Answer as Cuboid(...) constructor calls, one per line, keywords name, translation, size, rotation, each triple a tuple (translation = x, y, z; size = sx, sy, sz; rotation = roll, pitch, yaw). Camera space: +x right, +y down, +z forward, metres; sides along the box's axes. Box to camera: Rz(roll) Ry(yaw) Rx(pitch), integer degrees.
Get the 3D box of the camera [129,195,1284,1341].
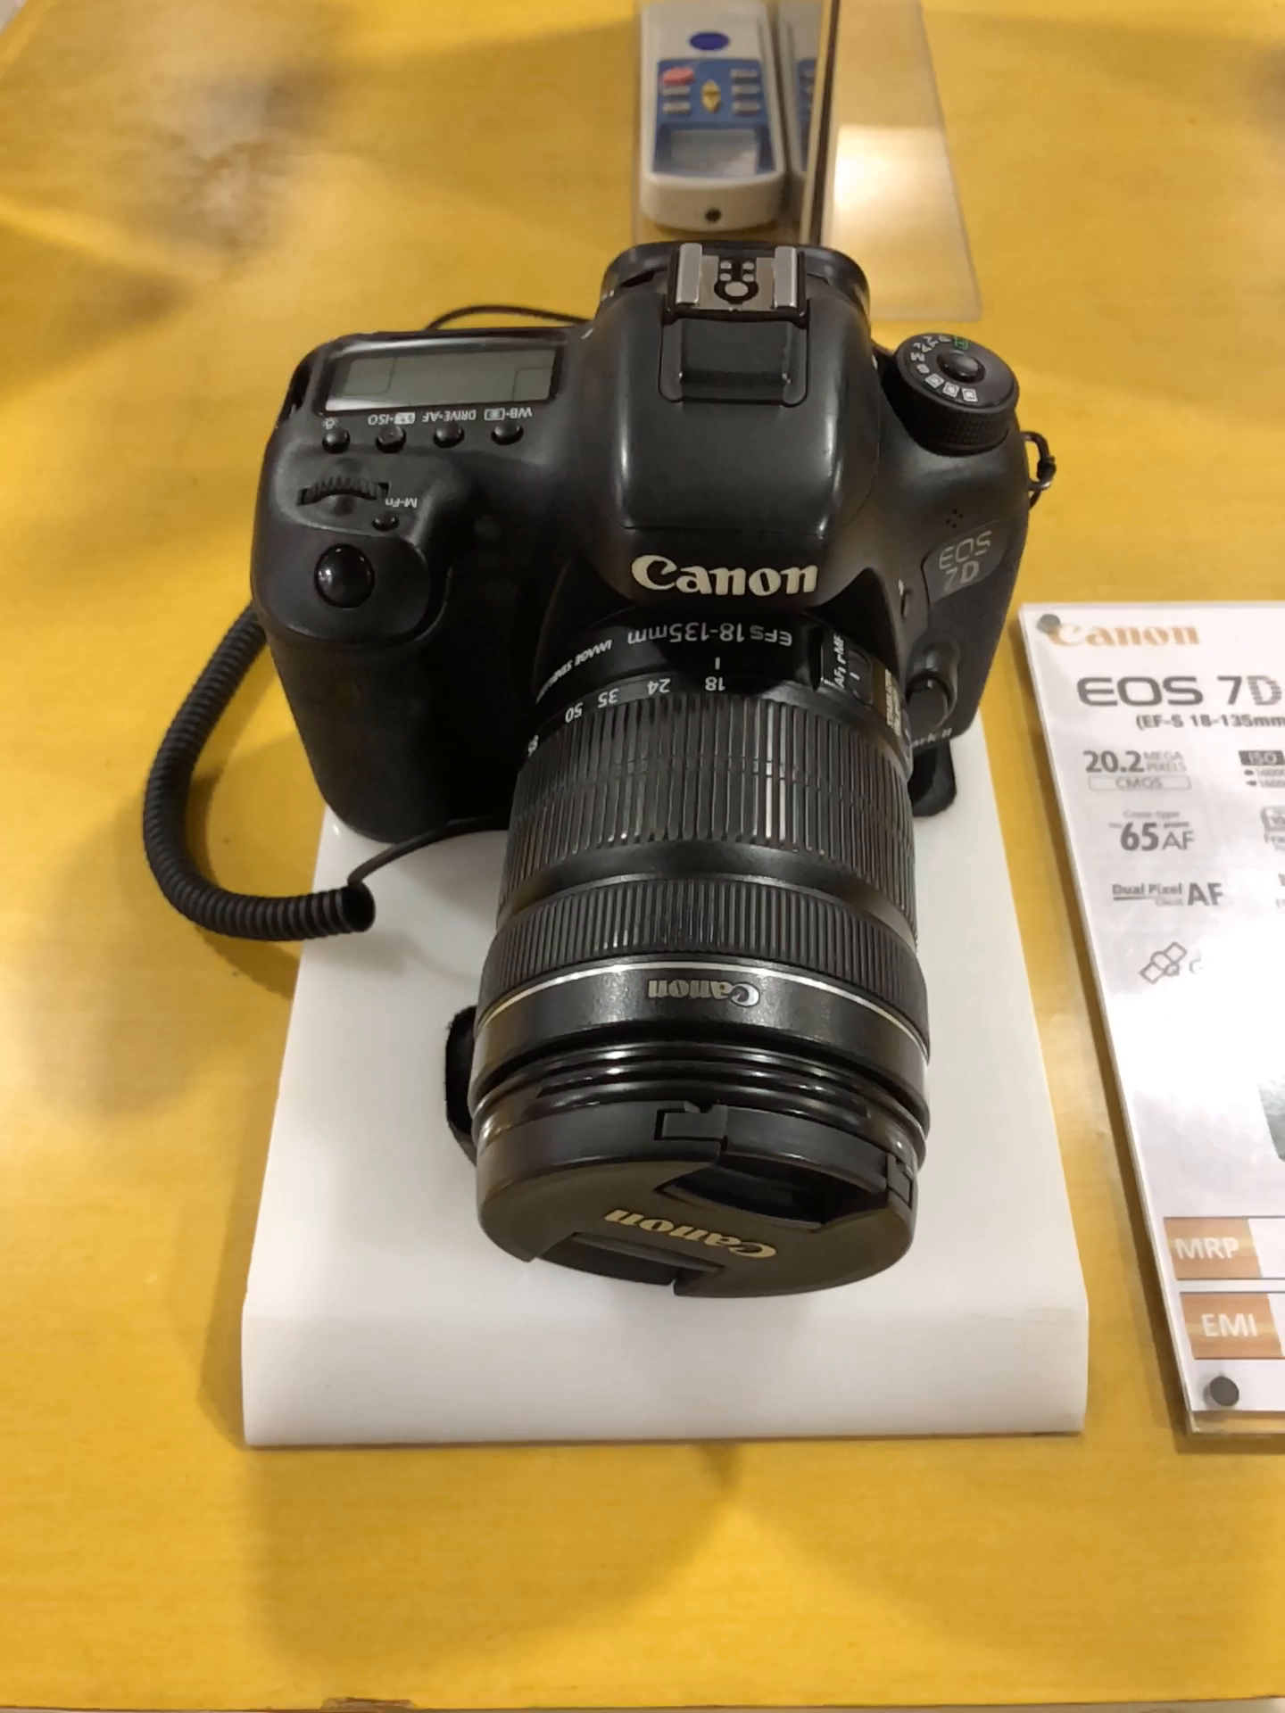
Cuboid(name="camera", translation=(0.009, -0.018, 0.255), size=(0.130, 0.109, 0.171), rotation=(1, 55, 1))
